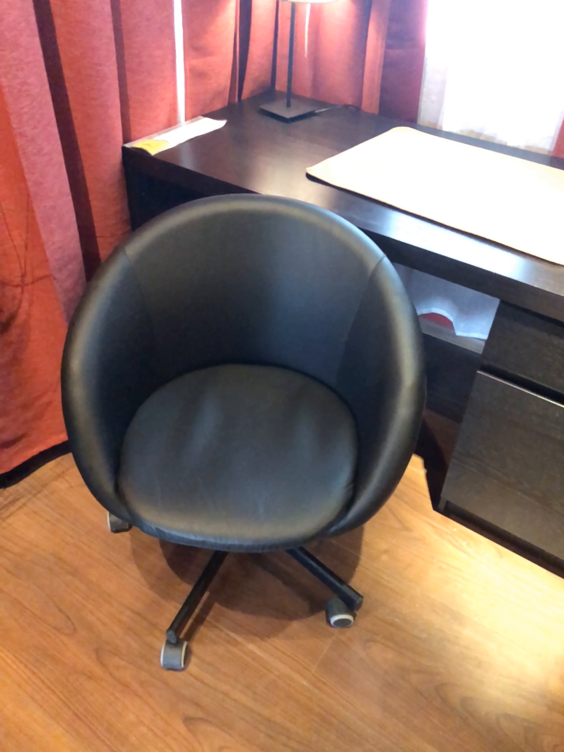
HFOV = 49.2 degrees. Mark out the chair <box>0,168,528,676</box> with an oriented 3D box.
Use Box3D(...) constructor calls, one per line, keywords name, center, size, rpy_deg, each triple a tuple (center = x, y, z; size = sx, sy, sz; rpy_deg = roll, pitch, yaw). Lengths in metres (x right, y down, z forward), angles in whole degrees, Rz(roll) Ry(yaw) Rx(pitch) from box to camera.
Box3D(name="chair", center=(-0.058, 0.087, 1.109), size=(0.630, 0.695, 0.574), rpy_deg=(1, 40, -1))
